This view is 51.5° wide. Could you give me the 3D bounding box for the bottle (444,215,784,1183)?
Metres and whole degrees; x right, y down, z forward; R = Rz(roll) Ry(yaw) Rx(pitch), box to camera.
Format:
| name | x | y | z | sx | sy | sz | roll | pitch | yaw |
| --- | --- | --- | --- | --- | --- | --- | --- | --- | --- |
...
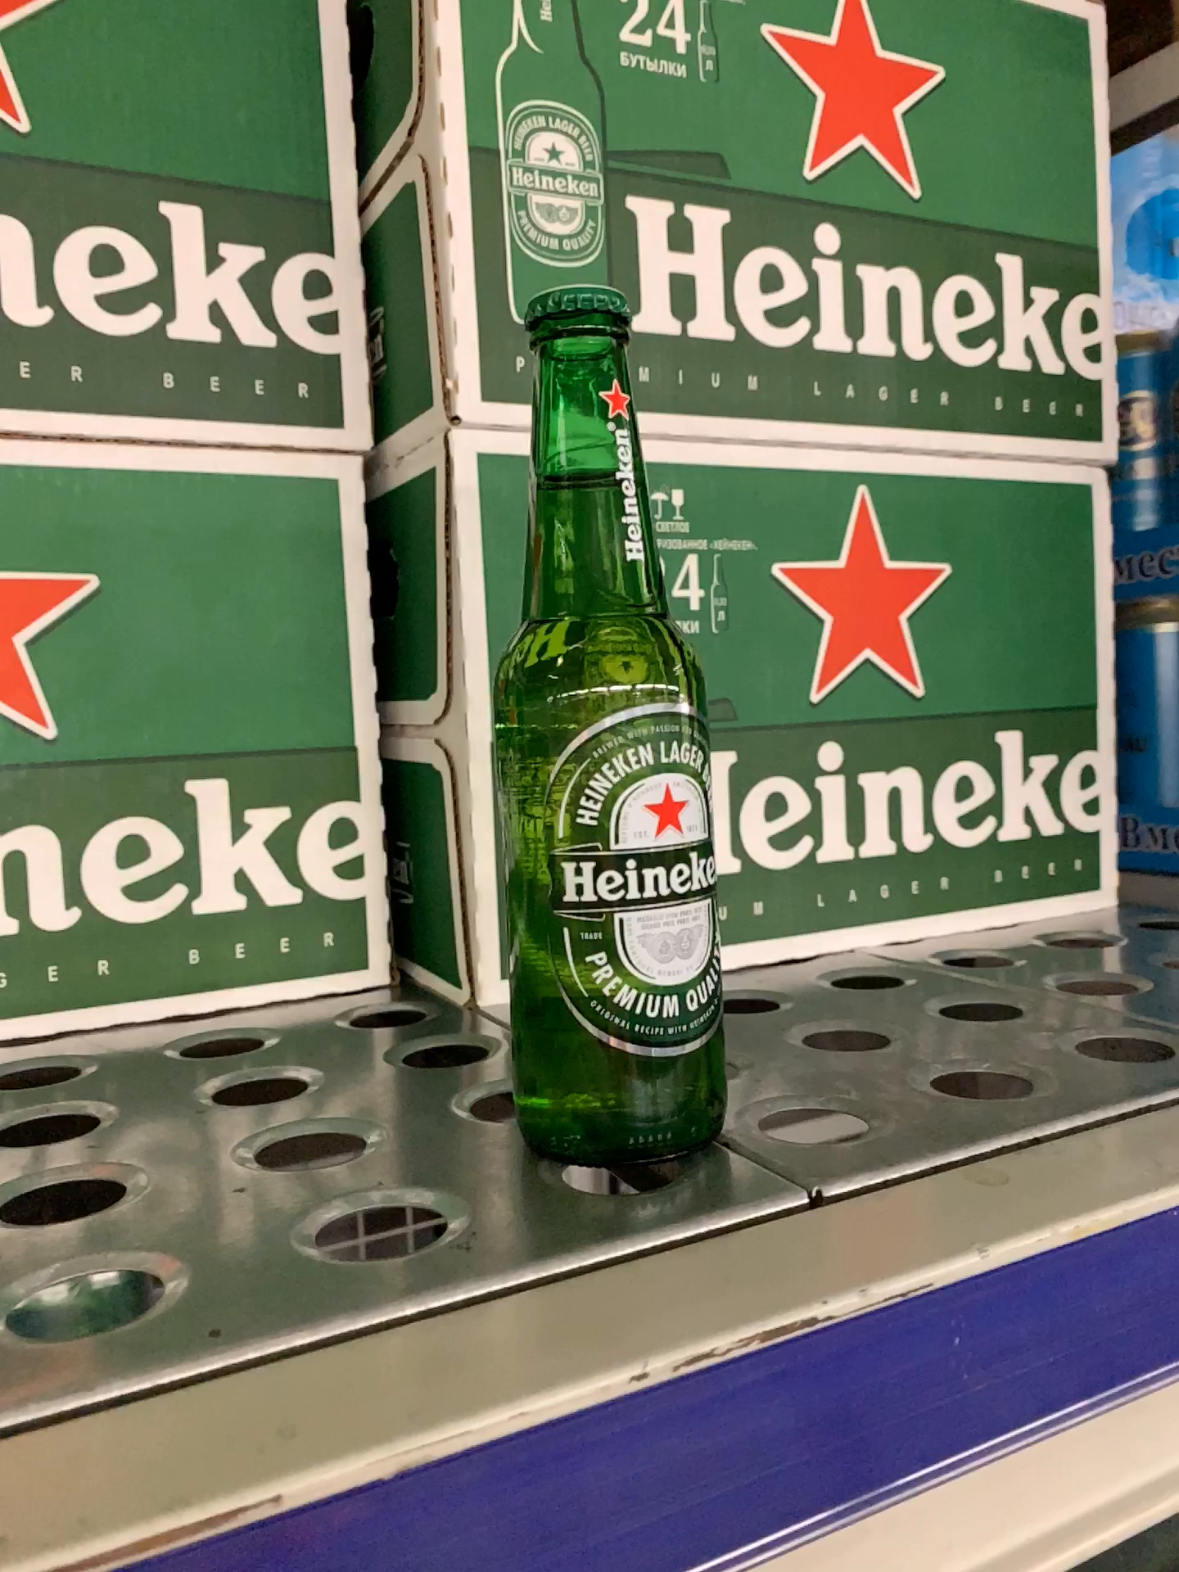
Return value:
| name | x | y | z | sx | sy | sz | roll | pitch | yaw |
| --- | --- | --- | --- | --- | --- | --- | --- | --- | --- |
| bottle | 0.006 | -0.021 | 0.326 | 0.060 | 0.226 | 0.060 | -2 | 3 | 0 |
